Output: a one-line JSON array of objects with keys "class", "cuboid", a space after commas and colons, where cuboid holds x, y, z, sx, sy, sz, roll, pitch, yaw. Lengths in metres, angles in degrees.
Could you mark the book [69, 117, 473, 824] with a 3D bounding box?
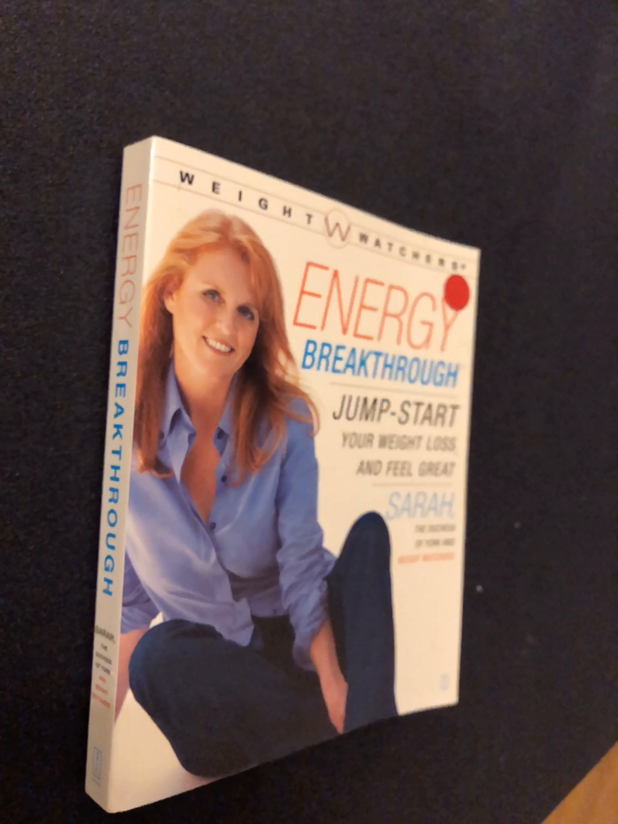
[{"class": "book", "cuboid": [0.000, 0.024, 0.302, 0.186, 0.030, 0.234, 5, 88, -43]}]
